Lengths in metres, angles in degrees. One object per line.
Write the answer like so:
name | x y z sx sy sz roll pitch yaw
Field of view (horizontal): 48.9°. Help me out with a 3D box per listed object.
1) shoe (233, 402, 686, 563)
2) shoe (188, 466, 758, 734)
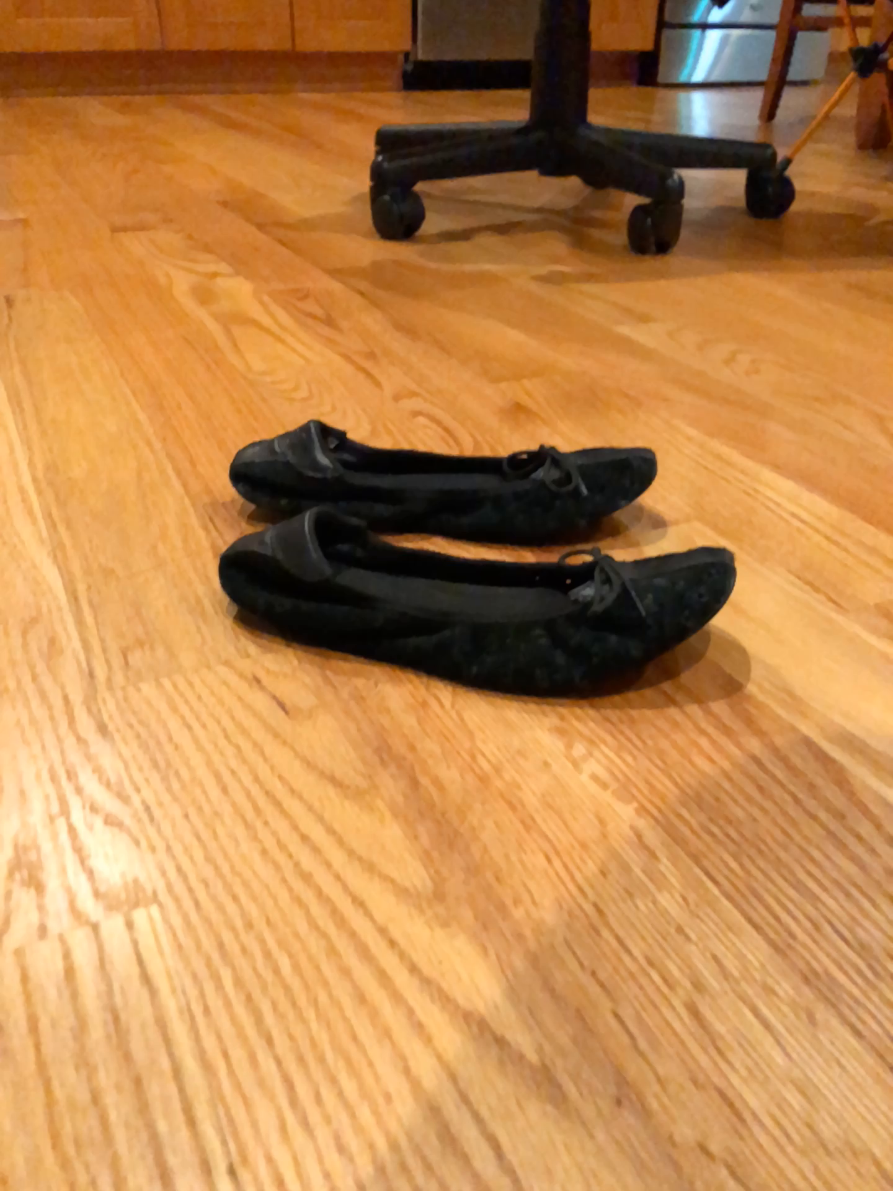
shoe | 0.007 -0.063 0.529 0.220 0.046 0.093 2 30 0
shoe | 0.014 -0.004 0.430 0.220 0.050 0.101 6 31 8
